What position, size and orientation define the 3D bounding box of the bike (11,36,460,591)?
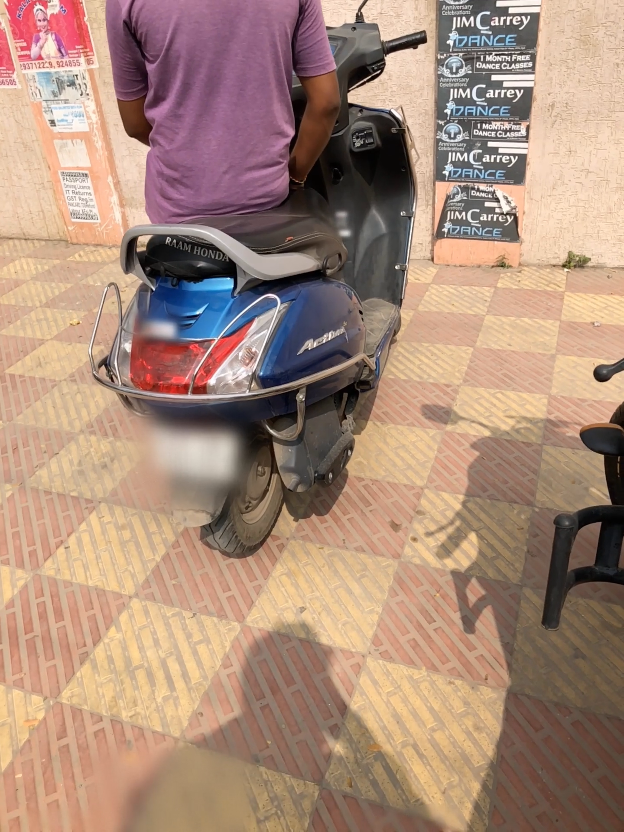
[{"bbox_3d":[0.046,-0.492,2.071,0.621,1.038,1.712,4,32,14],"label":"bike"}]
